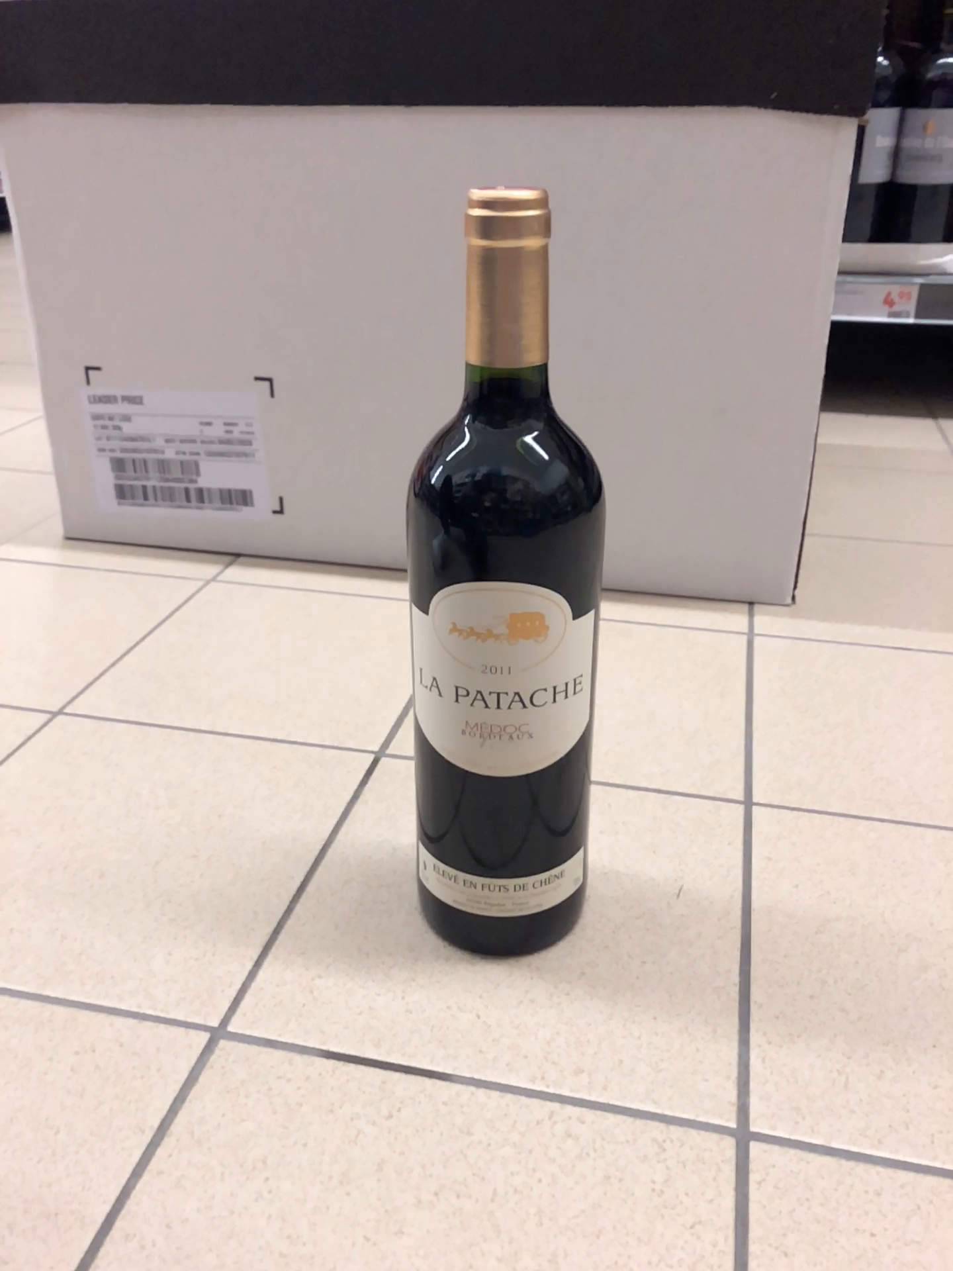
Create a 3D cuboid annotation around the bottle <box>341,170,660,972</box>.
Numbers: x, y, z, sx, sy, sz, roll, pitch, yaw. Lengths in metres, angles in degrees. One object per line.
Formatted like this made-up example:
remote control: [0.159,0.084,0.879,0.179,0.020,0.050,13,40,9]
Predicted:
bottle: [0.010,-0.015,0.395,0.090,0.288,0.080,2,26,4]
